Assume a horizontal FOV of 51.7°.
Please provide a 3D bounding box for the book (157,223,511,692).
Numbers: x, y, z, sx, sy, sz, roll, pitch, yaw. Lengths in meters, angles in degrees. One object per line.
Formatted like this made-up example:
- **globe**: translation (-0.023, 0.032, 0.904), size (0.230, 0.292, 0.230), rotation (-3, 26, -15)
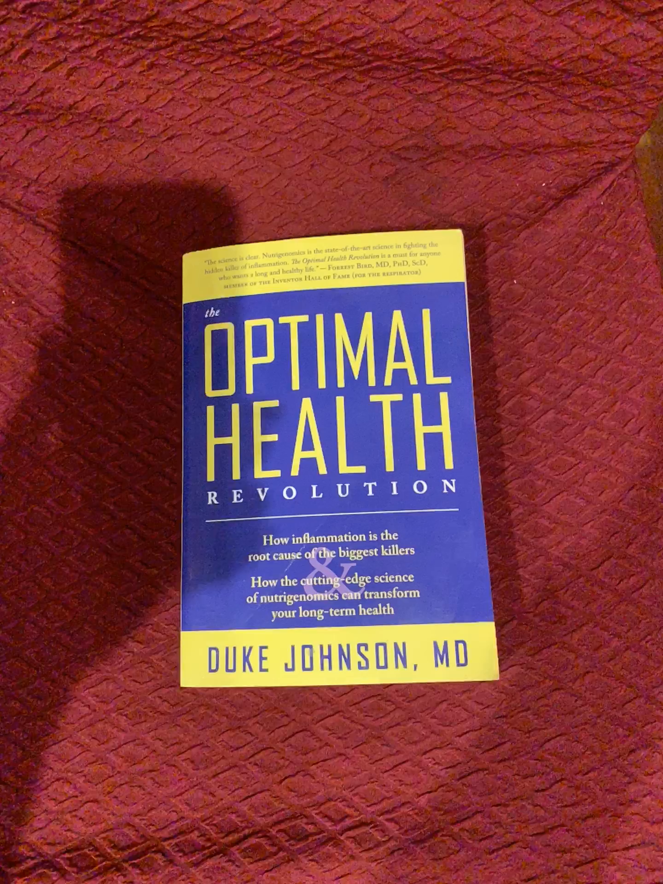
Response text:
- **book**: translation (-0.001, 0.008, 0.358), size (0.161, 0.060, 0.222), rotation (-2, 80, 5)
